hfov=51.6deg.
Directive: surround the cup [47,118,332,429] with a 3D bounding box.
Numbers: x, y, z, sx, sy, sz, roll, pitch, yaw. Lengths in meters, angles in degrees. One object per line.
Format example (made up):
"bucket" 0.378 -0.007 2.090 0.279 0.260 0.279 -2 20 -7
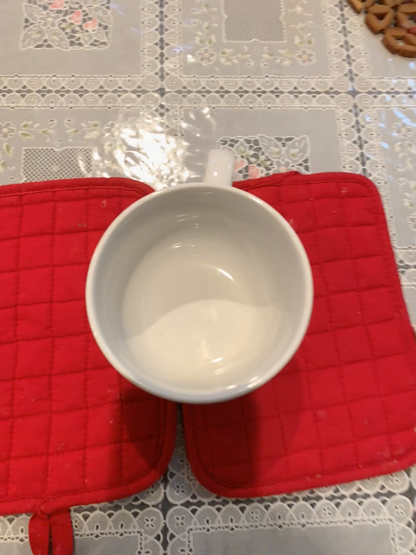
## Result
"cup" -0.005 0.002 0.248 0.120 0.080 0.140 8 75 -1
